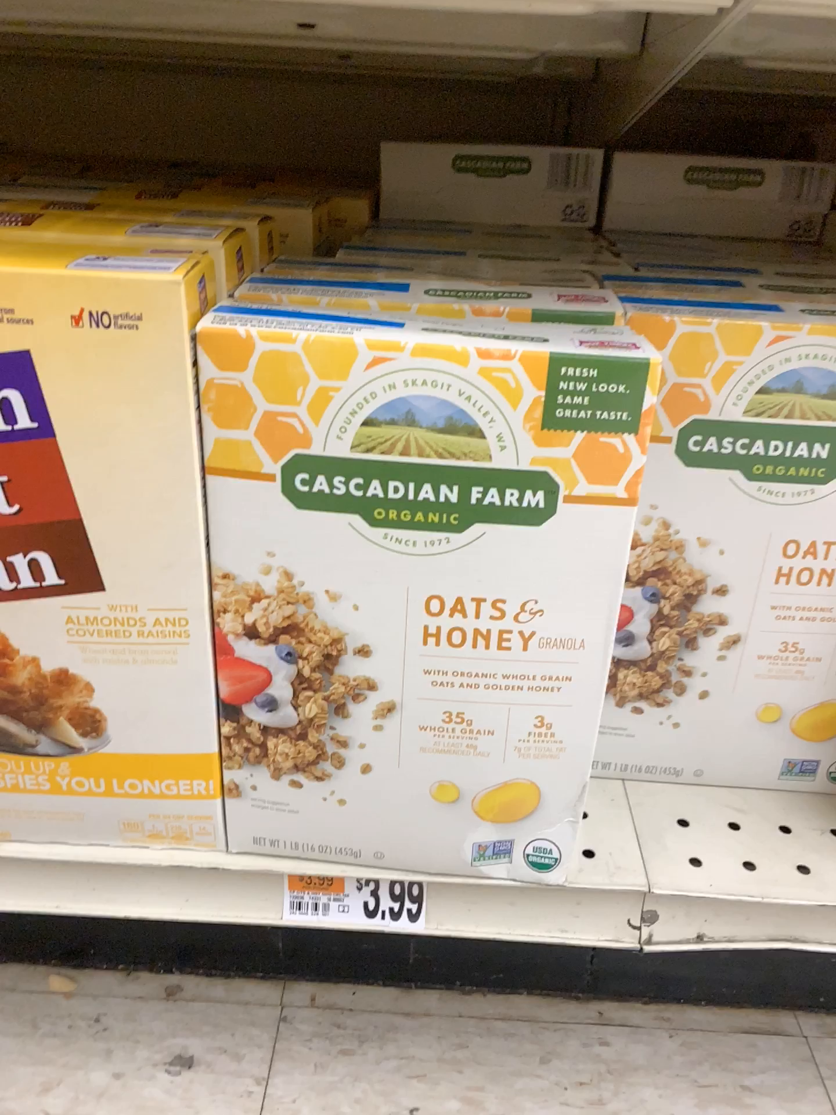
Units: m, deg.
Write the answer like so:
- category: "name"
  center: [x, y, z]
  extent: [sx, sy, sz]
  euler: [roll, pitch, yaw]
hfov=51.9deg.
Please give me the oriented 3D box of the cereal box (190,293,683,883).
- category: "cereal box"
  center: [0.002, 0.019, 0.355]
  extent: [0.160, 0.229, 0.060]
  euler: [5, 26, 3]
